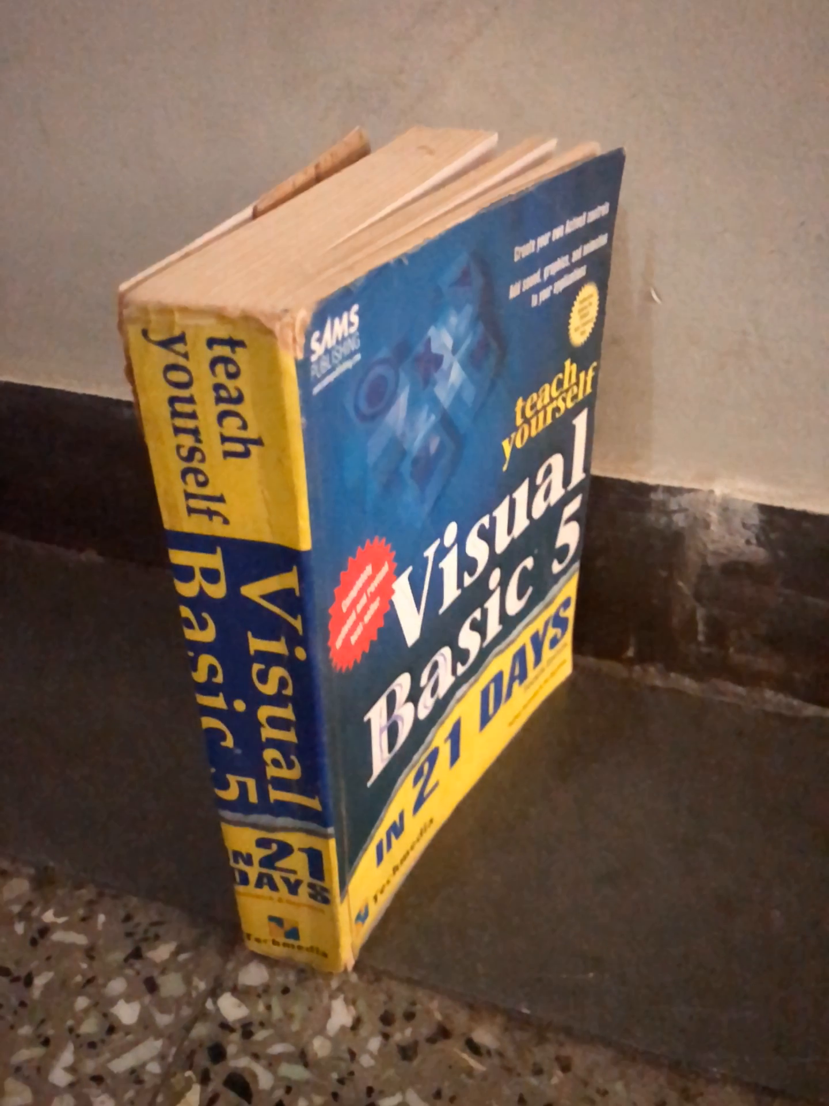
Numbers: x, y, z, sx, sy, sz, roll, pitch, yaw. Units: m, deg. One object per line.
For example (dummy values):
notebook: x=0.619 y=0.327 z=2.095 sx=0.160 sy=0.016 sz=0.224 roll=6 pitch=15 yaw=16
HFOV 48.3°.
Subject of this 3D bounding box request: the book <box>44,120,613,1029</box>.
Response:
book: x=0.007 y=-0.014 z=0.341 sx=0.060 sy=0.229 sz=0.251 roll=11 pitch=35 yaw=22
